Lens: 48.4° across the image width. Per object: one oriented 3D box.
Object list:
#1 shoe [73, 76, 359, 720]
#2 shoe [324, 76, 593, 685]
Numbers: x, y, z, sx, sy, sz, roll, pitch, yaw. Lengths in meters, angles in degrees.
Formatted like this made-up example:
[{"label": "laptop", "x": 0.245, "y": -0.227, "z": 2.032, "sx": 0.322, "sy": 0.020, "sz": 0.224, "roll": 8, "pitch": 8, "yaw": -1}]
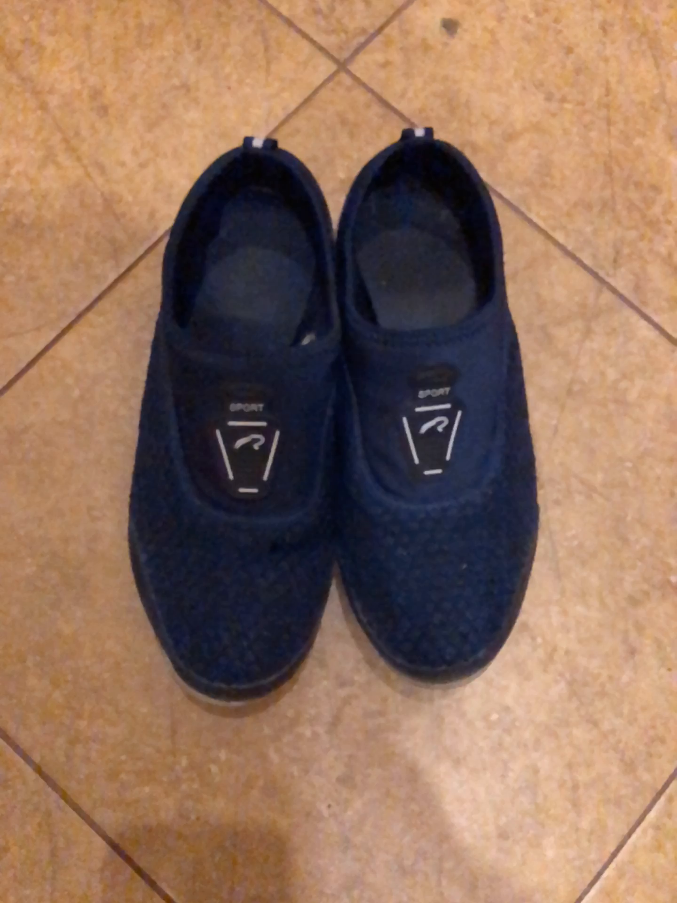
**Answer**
[{"label": "shoe", "x": -0.050, "y": -0.028, "z": 0.369, "sx": 0.110, "sy": 0.070, "sz": 0.290, "roll": 2, "pitch": 80, "yaw": -2}, {"label": "shoe", "x": 0.051, "y": -0.038, "z": 0.385, "sx": 0.110, "sy": 0.070, "sz": 0.290, "roll": -1, "pitch": 80, "yaw": -2}]
